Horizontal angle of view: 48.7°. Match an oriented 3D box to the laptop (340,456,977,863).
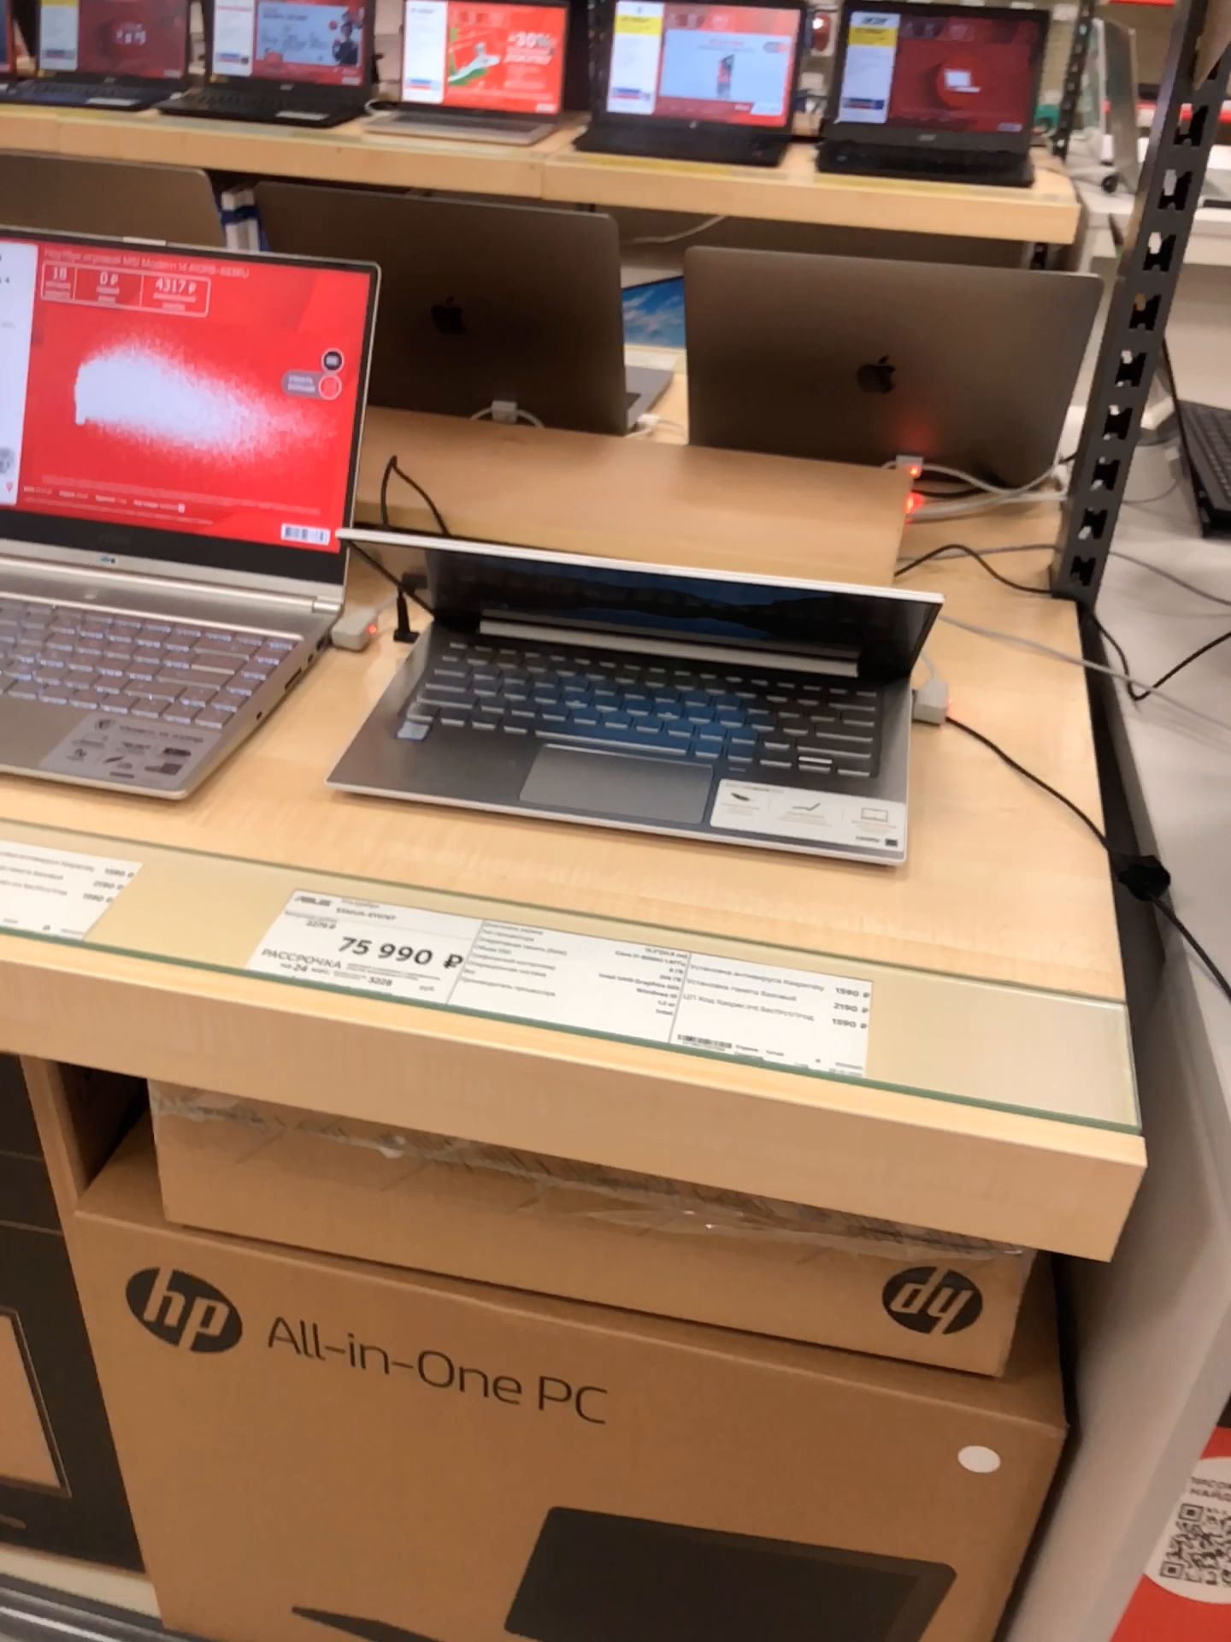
[{"bbox_3d":[0.030,-0.101,0.760,0.309,0.119,0.198,7,33,9],"label":"laptop"}]
